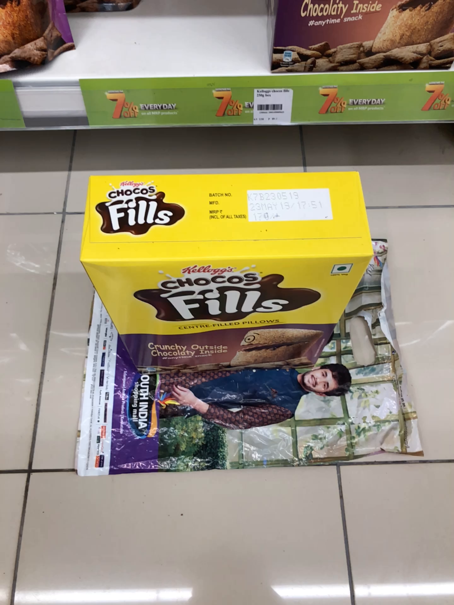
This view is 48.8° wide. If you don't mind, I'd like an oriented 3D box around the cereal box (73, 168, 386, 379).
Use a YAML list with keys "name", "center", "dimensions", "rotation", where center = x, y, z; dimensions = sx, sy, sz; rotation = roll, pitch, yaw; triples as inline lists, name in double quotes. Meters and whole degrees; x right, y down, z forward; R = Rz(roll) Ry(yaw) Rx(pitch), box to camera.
- name: "cereal box"
  center: [0.001, -0.006, 0.422]
  dimensions: [0.190, 0.229, 0.070]
  rotation: [-2, 65, -1]
